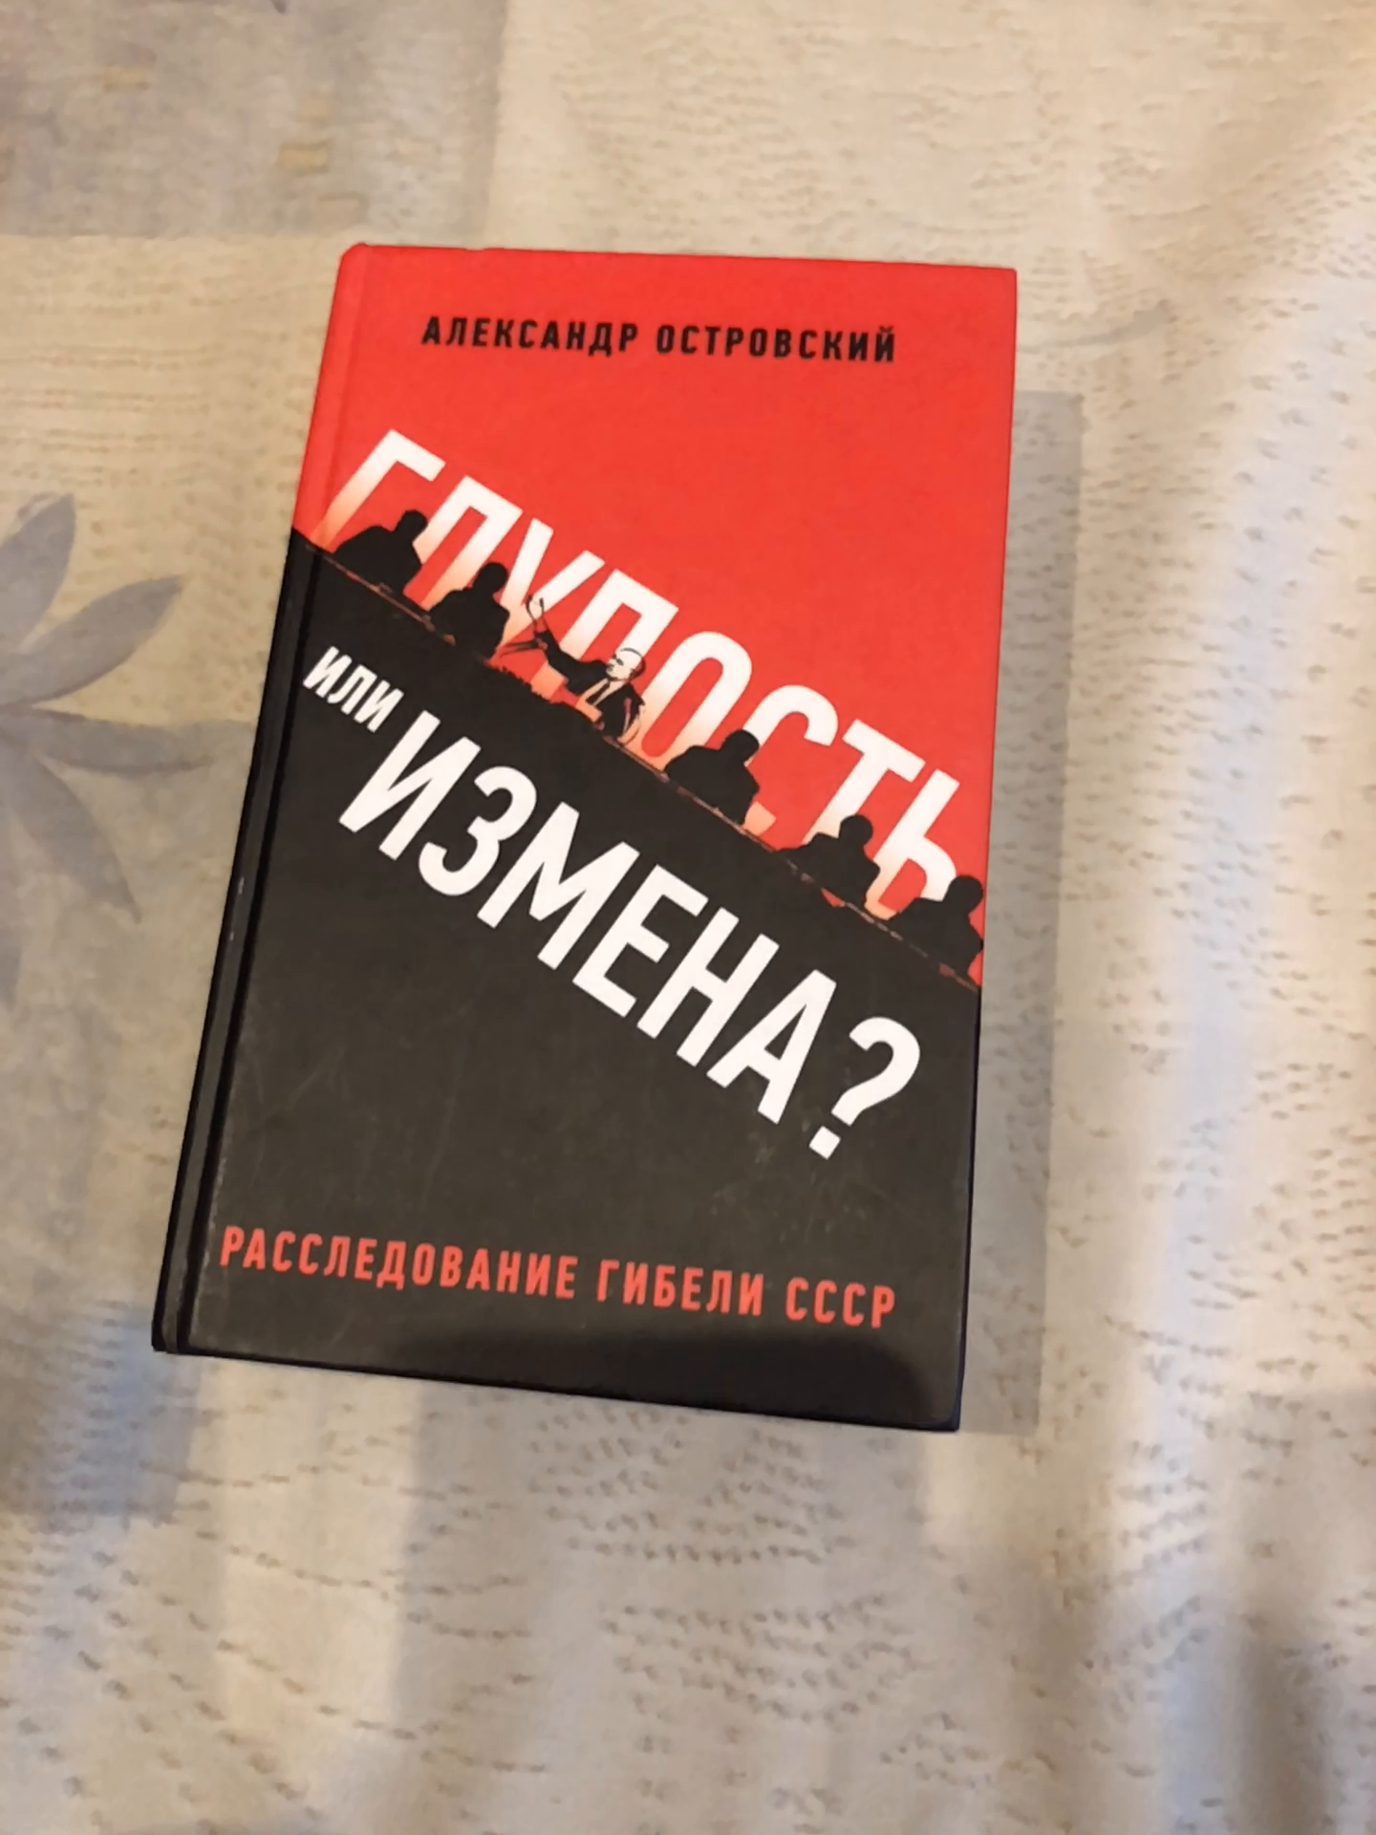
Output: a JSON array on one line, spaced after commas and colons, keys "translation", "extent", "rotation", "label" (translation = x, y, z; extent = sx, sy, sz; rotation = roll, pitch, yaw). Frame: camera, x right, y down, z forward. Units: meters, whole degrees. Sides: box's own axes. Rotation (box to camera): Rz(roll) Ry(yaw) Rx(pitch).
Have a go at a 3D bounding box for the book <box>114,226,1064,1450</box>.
[{"translation": [-0.009, -0.019, 0.274], "extent": [0.135, 0.050, 0.200], "rotation": [4, 75, 5], "label": "book"}]
